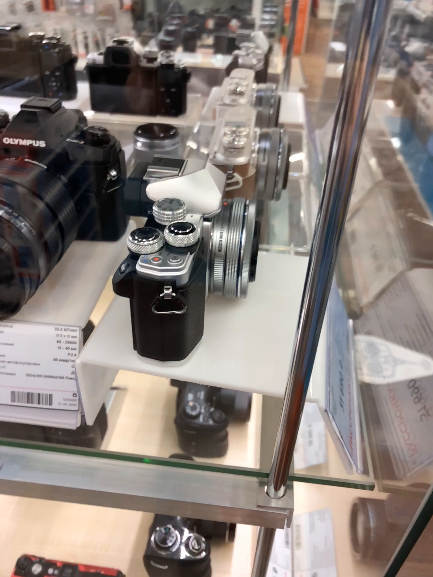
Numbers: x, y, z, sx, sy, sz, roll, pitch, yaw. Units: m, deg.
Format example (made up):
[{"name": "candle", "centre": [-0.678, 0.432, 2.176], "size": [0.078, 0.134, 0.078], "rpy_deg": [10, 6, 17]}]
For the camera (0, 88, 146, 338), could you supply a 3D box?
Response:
[{"name": "camera", "centre": [-0.110, -0.054, 0.293], "size": [0.102, 0.087, 0.137], "rpy_deg": [6, 37, 4]}]

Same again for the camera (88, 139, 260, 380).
[{"name": "camera", "centre": [-0.016, -0.023, 0.277], "size": [0.071, 0.080, 0.121], "rpy_deg": [5, 37, 3]}]

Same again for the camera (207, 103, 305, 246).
[{"name": "camera", "centre": [0.033, -0.101, 0.406], "size": [0.065, 0.062, 0.140], "rpy_deg": [5, 37, 3]}]
